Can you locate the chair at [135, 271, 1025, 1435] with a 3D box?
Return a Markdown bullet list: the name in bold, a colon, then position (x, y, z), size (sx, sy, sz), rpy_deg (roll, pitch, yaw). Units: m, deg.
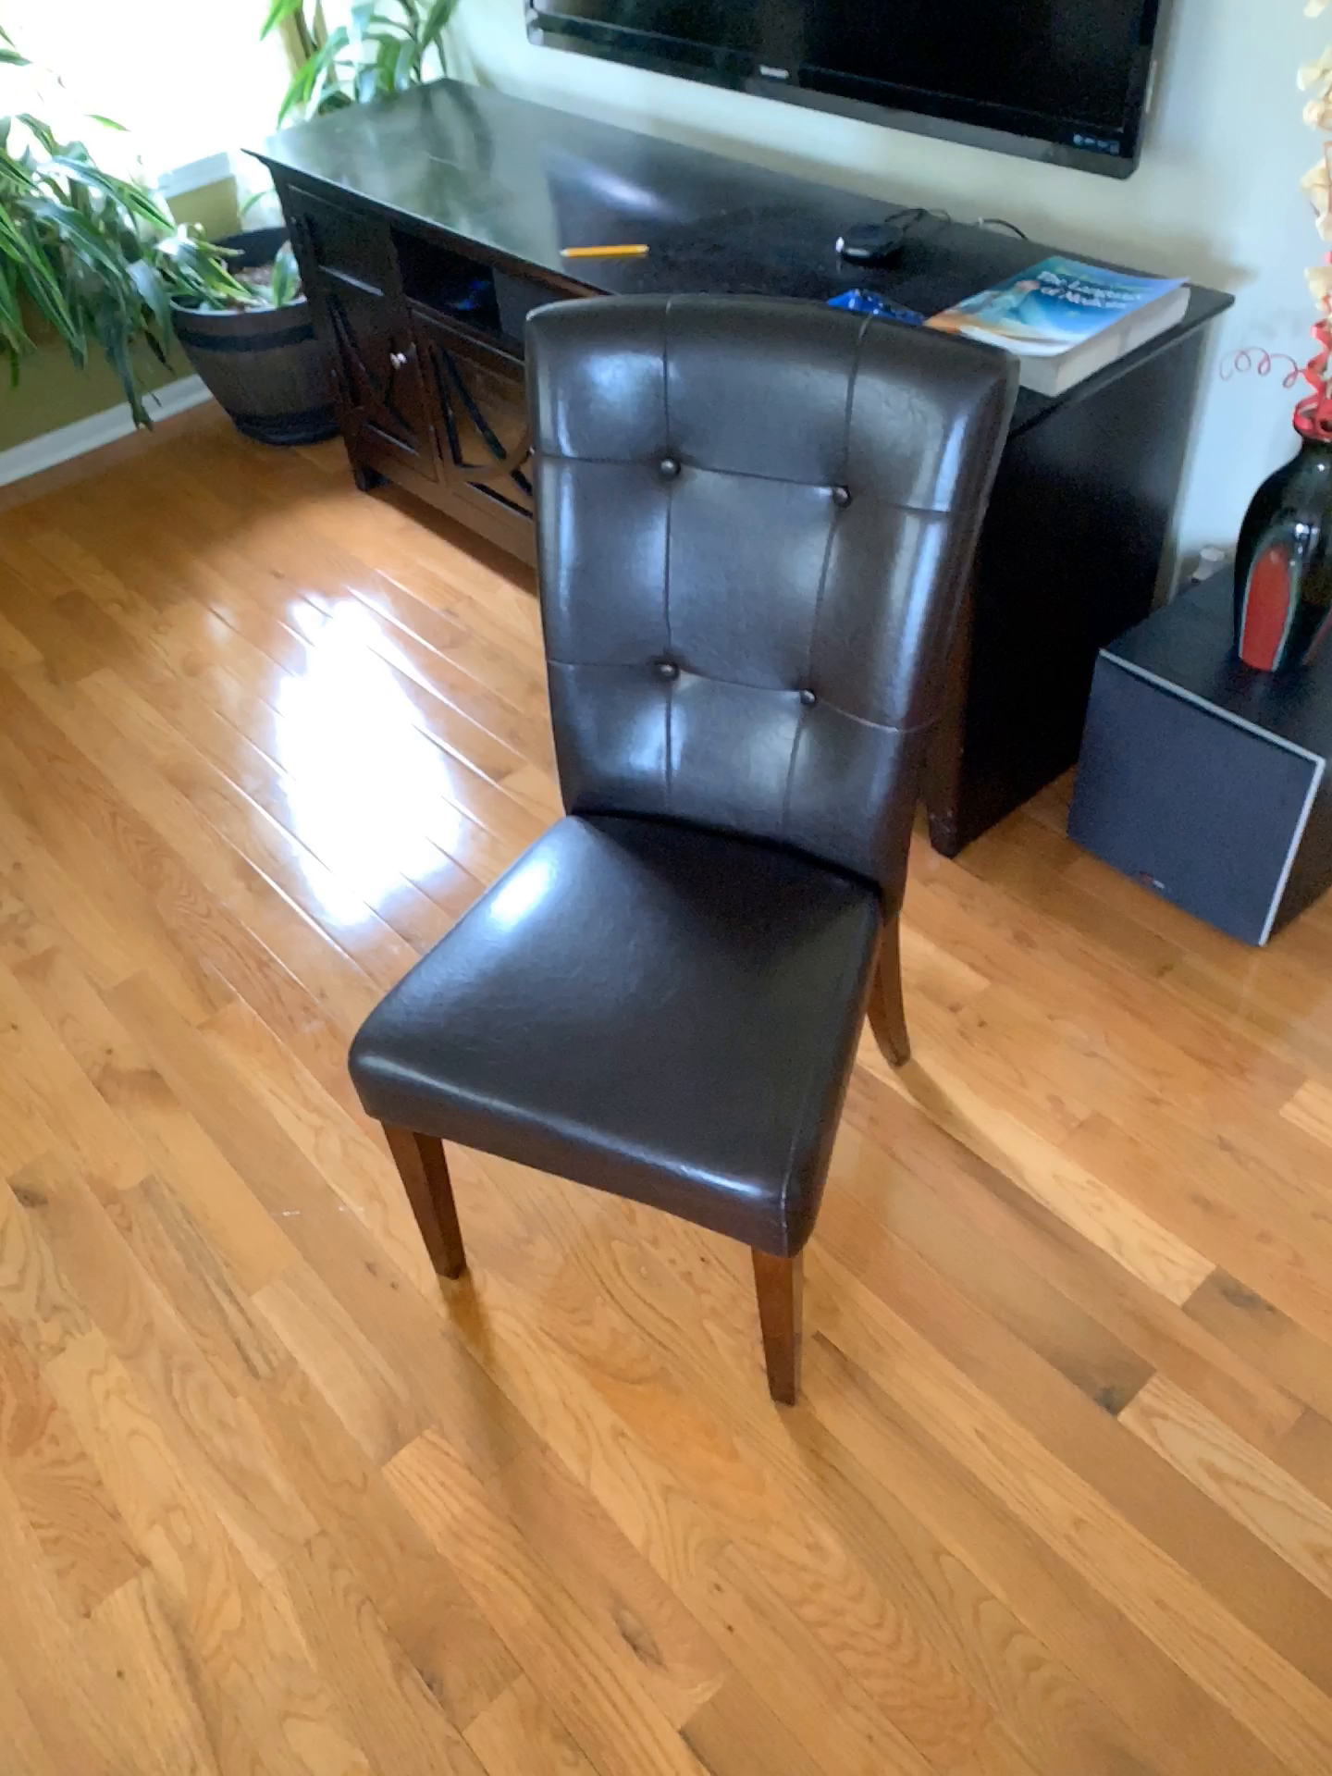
- **chair**: position (0.013, -0.023, 1.495), size (0.498, 0.969, 0.706), rpy_deg (14, 49, 20)
